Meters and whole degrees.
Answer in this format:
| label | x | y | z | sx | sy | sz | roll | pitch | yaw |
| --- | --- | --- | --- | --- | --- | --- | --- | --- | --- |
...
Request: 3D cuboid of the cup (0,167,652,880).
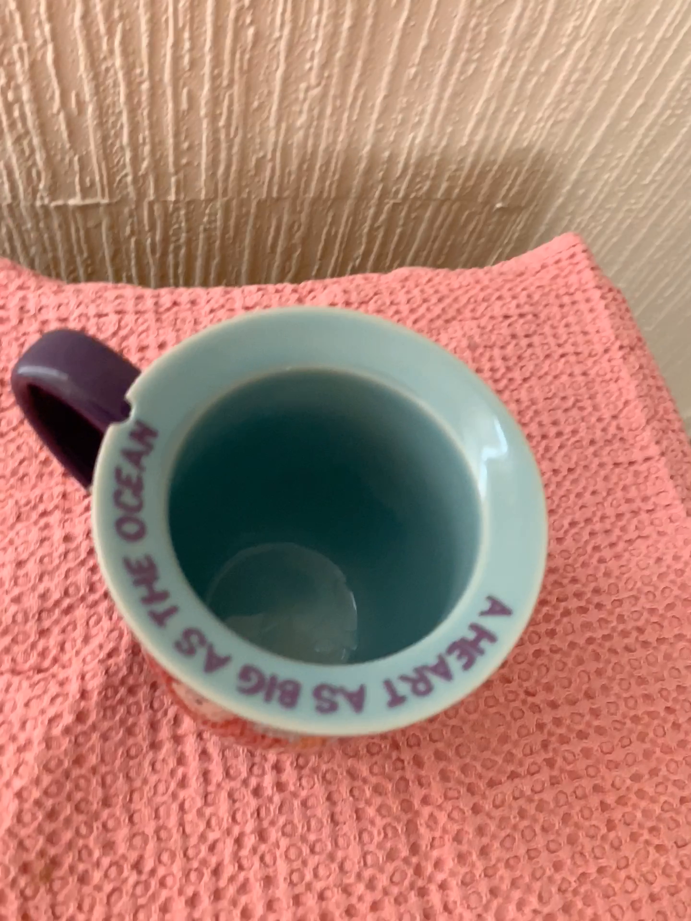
| label | x | y | z | sx | sy | sz | roll | pitch | yaw |
| --- | --- | --- | --- | --- | --- | --- | --- | --- | --- |
| cup | -0.021 | 0.020 | 0.195 | 0.140 | 0.099 | 0.101 | 32 | 61 | 5 |
